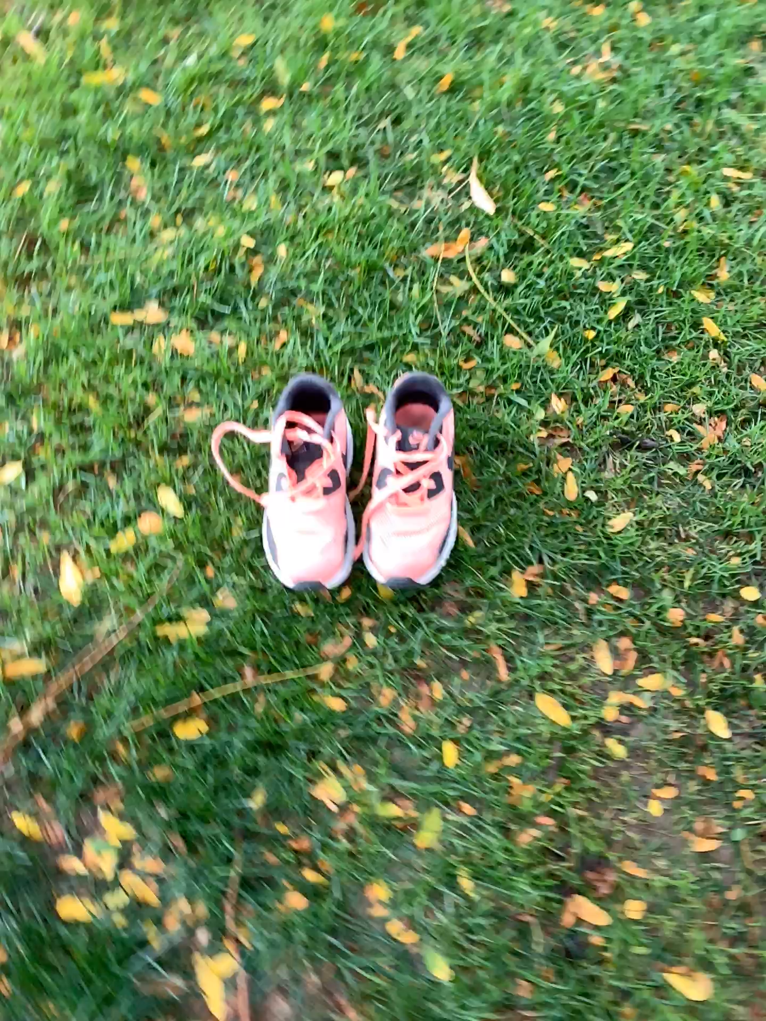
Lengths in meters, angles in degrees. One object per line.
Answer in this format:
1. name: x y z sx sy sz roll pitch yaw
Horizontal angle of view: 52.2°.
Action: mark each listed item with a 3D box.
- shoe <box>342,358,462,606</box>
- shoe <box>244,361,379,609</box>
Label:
1. shoe: 0.020 -0.027 0.672 0.080 0.070 0.200 4 62 4
2. shoe: -0.055 -0.025 0.674 0.080 0.070 0.200 4 62 4
